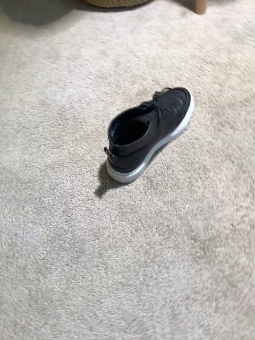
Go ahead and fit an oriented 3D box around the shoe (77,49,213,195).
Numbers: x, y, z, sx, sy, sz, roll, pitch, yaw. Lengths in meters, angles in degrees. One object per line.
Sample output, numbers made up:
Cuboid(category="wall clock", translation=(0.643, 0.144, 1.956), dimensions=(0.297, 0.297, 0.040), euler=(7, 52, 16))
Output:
Cuboid(category="shoe", translation=(0.043, -0.098, 0.552), dimensions=(0.107, 0.111, 0.262), euler=(35, 72, 23))
